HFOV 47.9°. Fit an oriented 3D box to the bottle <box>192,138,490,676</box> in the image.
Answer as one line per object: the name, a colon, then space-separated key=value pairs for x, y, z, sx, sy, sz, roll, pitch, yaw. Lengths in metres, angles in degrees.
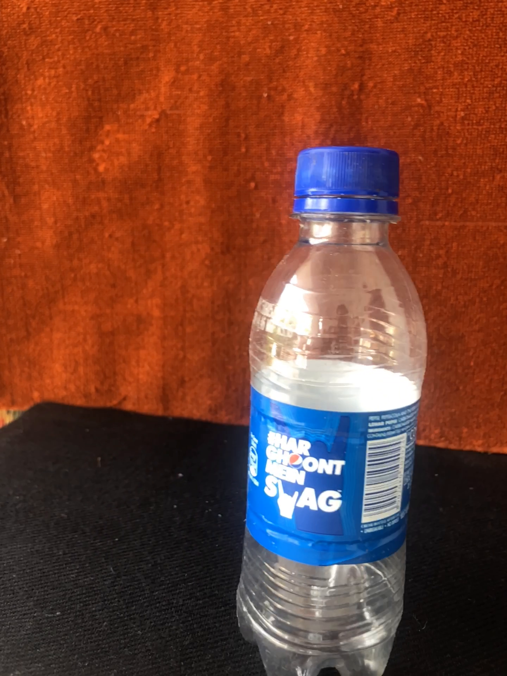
bottle: x=0.022 y=0.030 z=0.175 sx=0.060 sy=0.169 sz=0.050 roll=13 pitch=18 yaw=34
